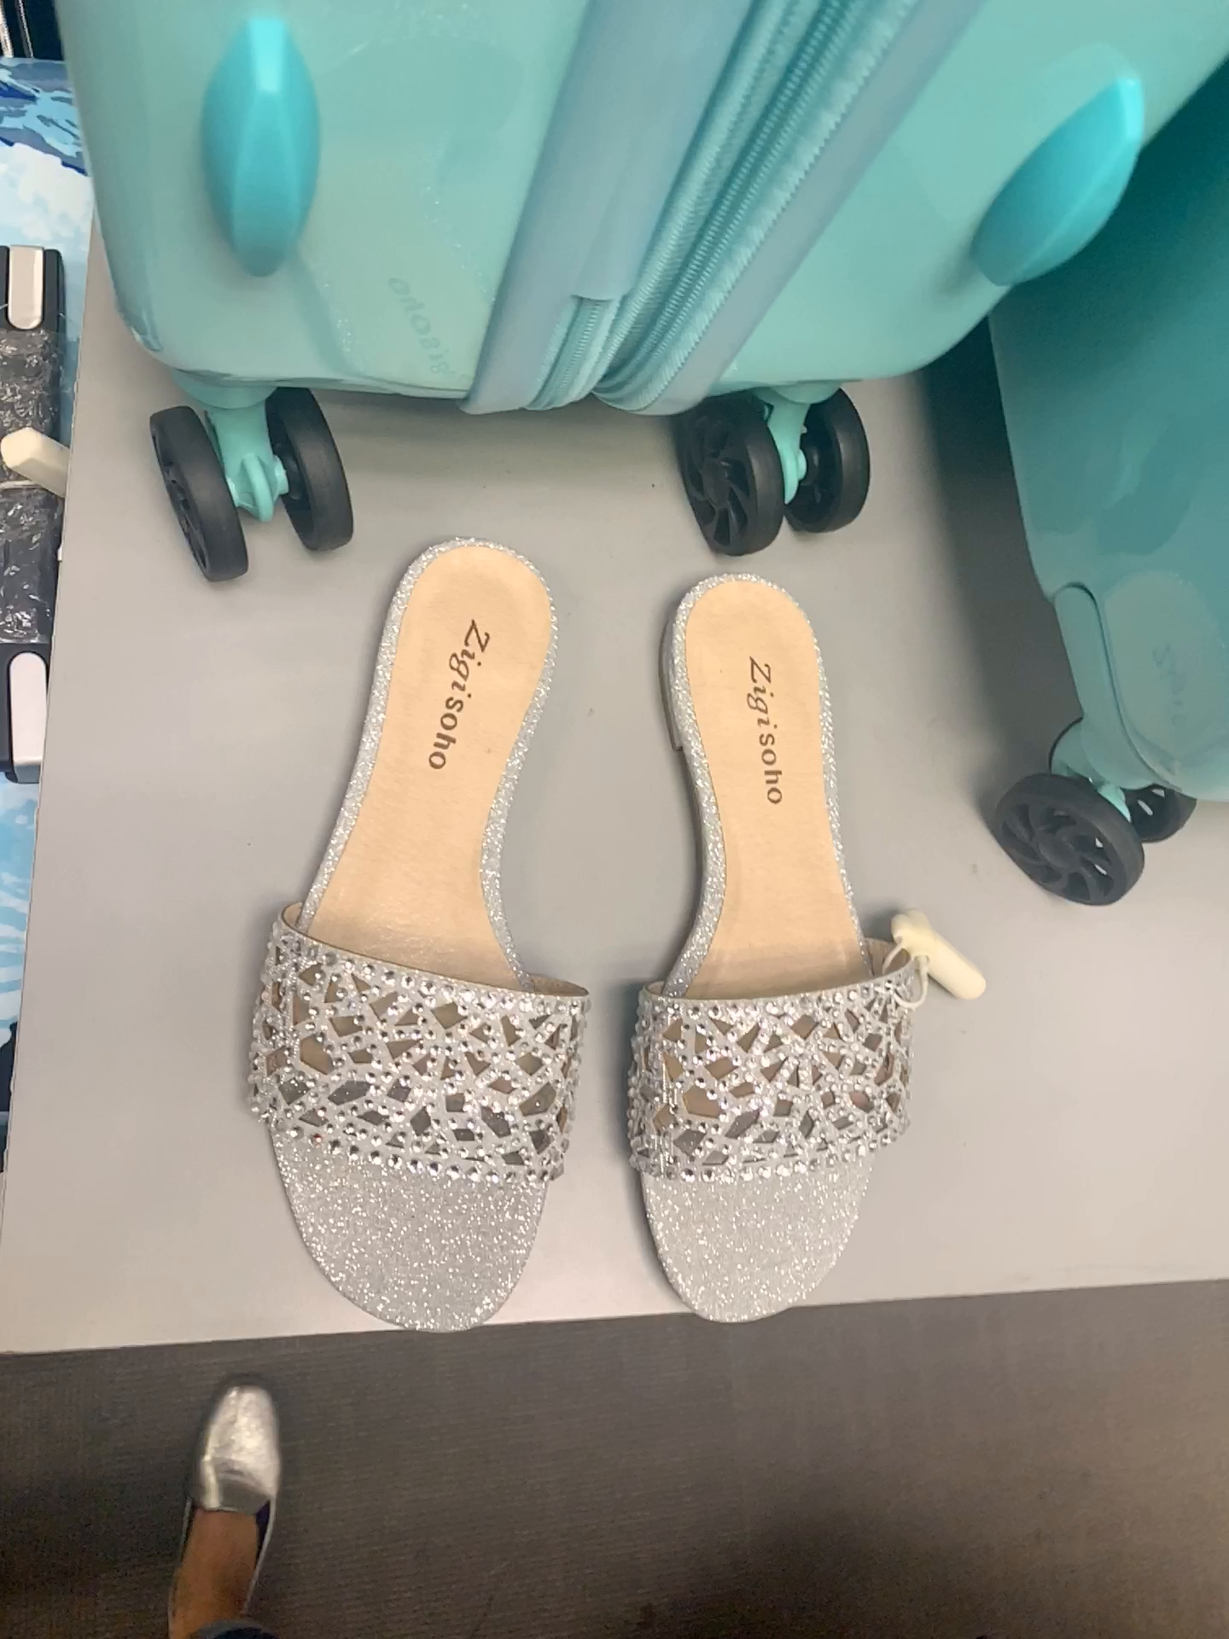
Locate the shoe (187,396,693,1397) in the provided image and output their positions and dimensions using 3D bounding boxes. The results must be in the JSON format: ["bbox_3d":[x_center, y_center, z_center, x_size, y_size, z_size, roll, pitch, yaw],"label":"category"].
[{"bbox_3d":[-0.043,0.019,0.343,0.100,0.061,0.243,8,76,-14],"label":"shoe"}]

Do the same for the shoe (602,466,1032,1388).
[{"bbox_3d":[0.057,0.029,0.368,0.099,0.061,0.242,6,76,-14],"label":"shoe"}]
